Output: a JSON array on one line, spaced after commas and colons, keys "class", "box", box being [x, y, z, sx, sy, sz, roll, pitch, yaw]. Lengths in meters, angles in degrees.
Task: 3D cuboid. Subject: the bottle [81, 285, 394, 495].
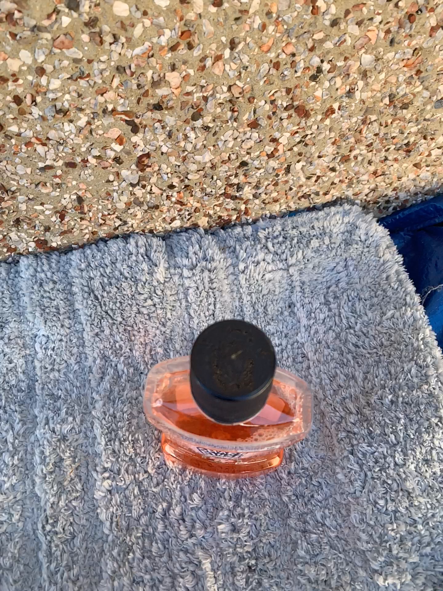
[{"class": "bottle", "box": [0.008, 0.058, 0.214, 0.090, 0.159, 0.050, 5, 64, 4]}]
